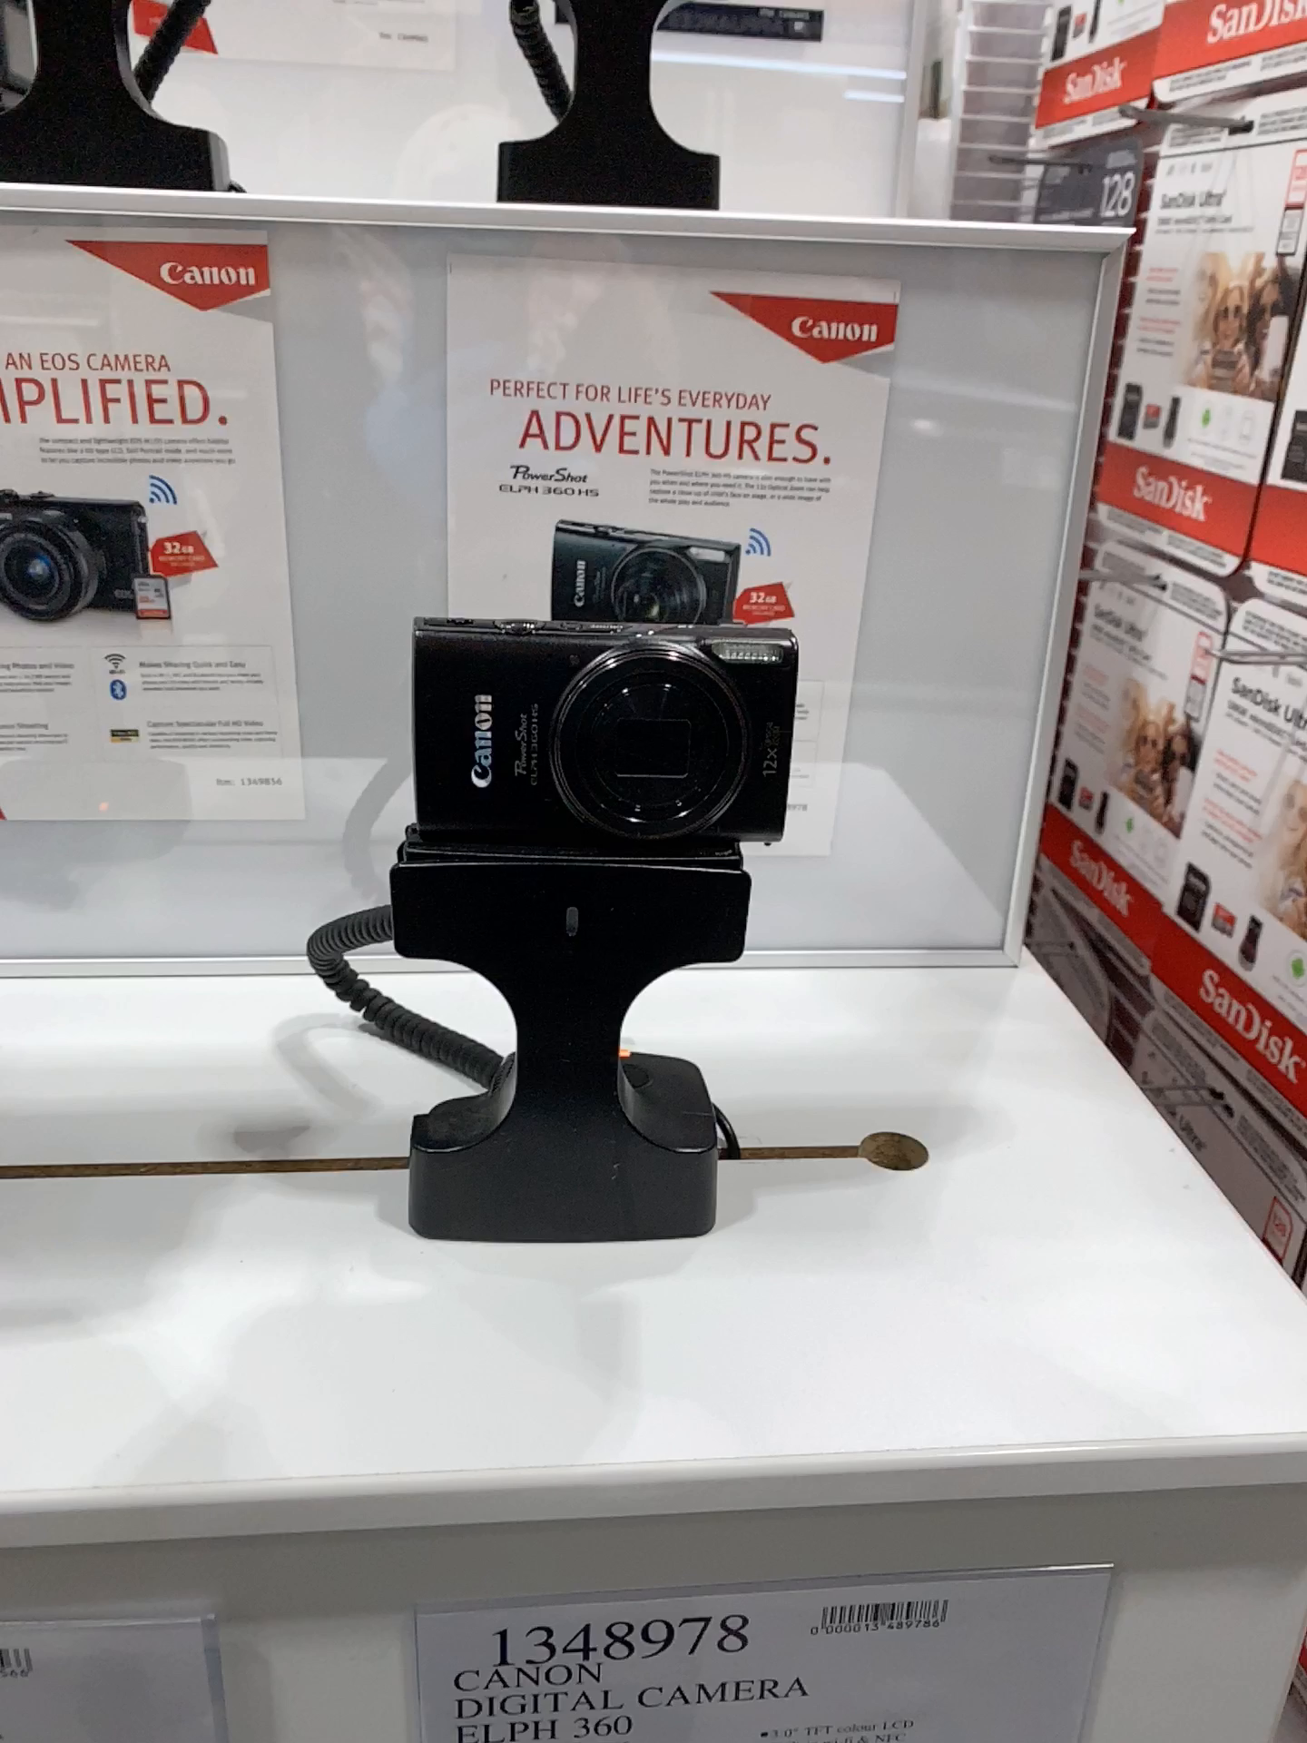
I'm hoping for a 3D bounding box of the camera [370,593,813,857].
[{"bbox_3d":[-0.017,-0.040,0.365,0.110,0.060,0.040,1,21,-3],"label":"camera"}]
